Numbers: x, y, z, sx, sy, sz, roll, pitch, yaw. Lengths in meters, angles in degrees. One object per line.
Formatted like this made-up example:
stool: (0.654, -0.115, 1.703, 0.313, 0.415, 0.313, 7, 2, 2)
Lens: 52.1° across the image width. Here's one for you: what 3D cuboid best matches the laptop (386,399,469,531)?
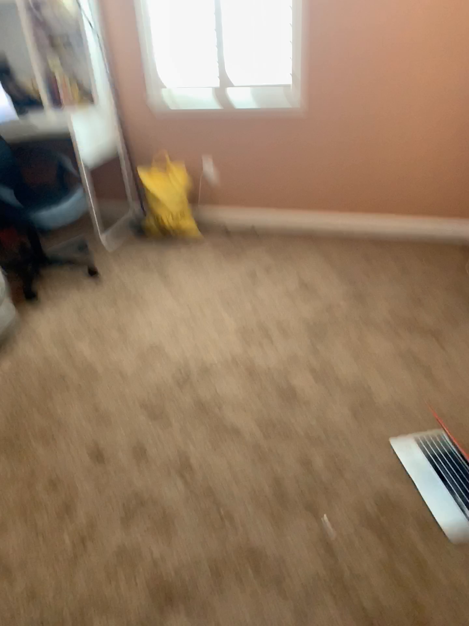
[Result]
laptop: (0.590, 0.413, 1.348, 0.192, 0.147, 0.302, -8, 32, -6)
